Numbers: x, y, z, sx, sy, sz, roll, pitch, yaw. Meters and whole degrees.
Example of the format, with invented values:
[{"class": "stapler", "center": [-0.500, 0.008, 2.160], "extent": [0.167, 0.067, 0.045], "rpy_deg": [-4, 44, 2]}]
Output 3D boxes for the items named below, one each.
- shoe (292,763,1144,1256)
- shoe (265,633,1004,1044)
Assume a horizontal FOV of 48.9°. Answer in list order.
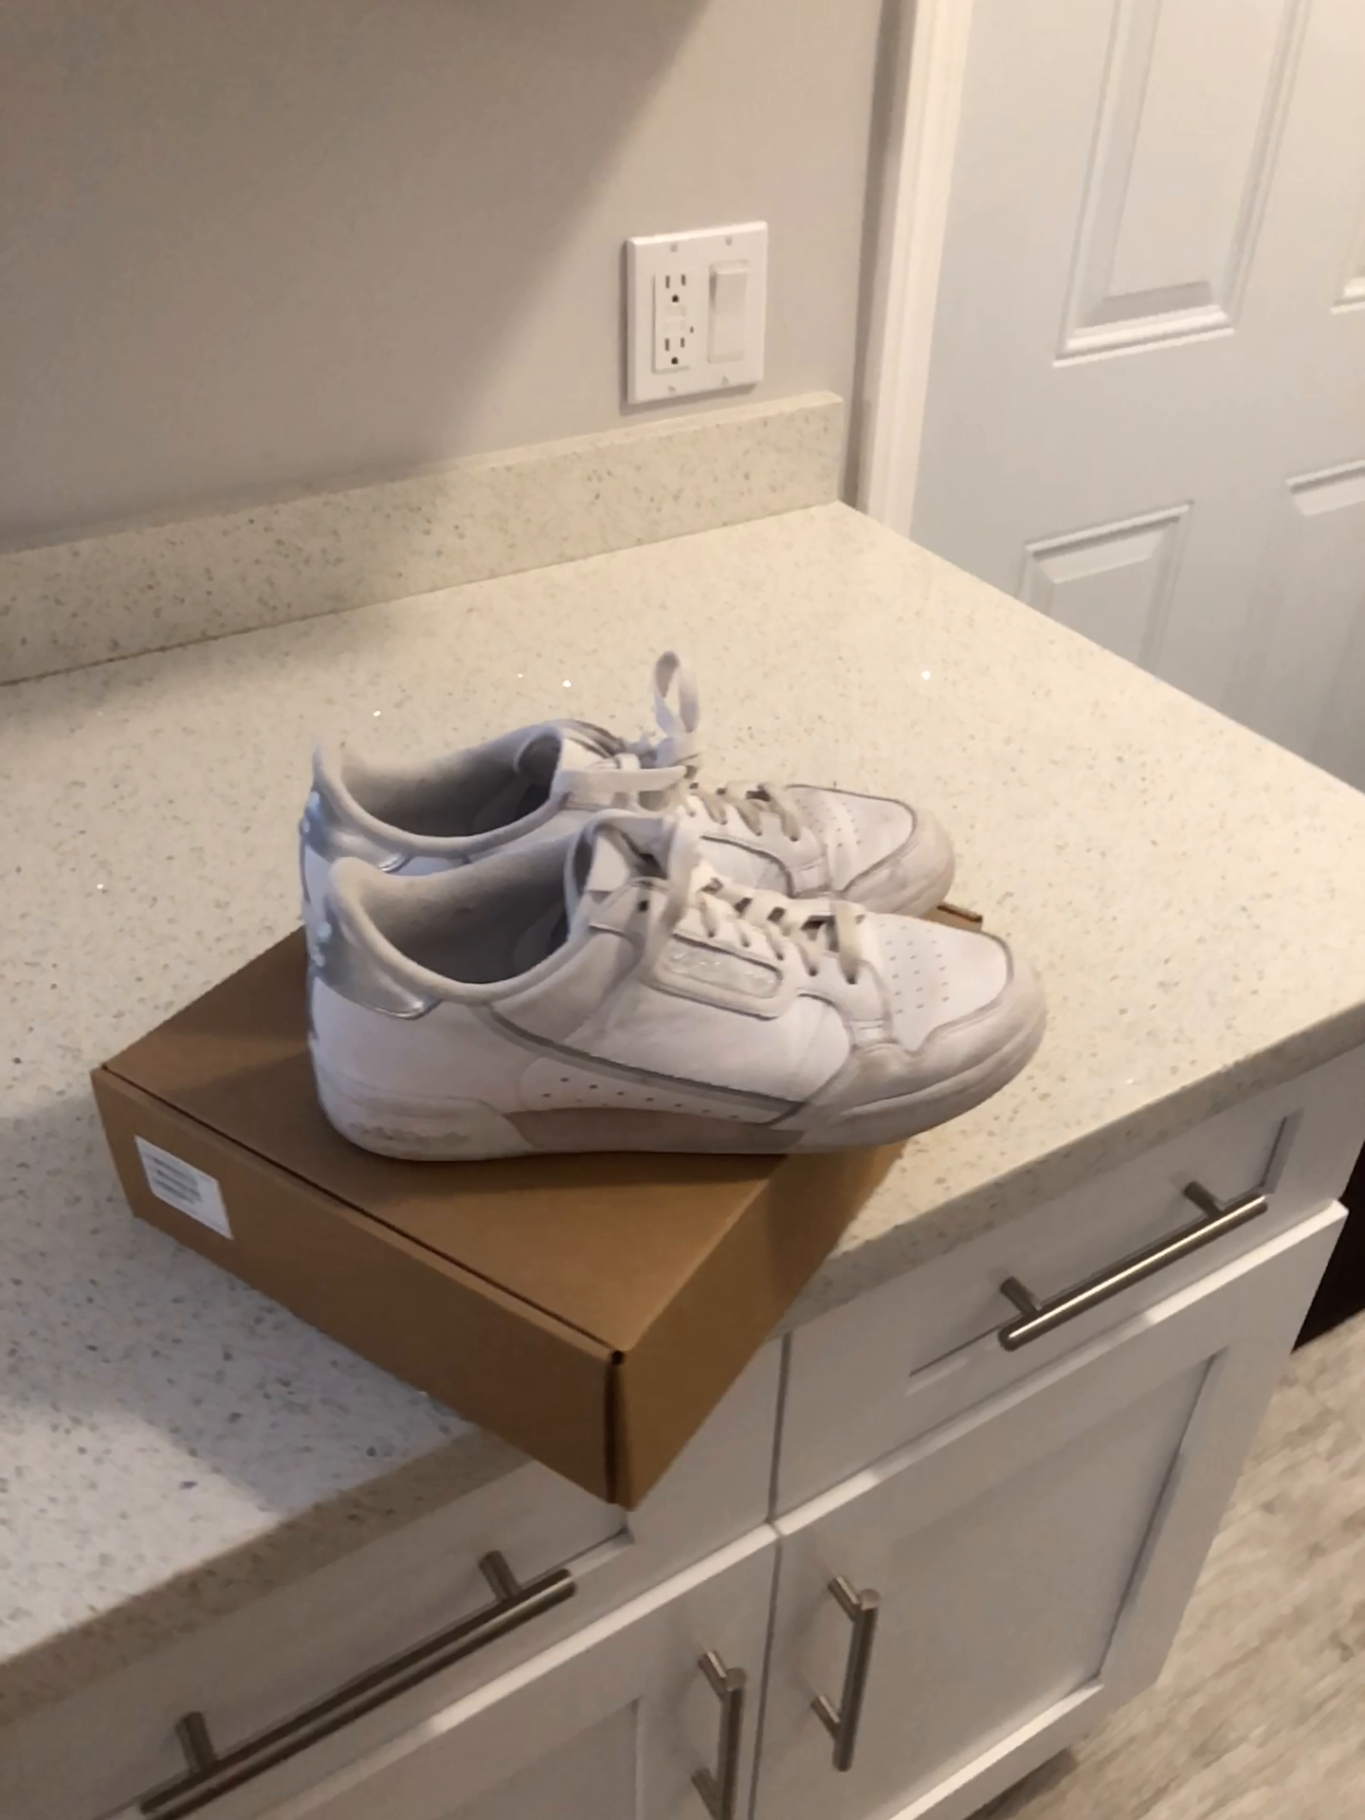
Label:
[{"class": "shoe", "center": [0.006, 0.030, 0.533], "extent": [0.268, 0.100, 0.108], "rpy_deg": [-6, 37, -10]}, {"class": "shoe", "center": [-0.023, -0.034, 0.609], "extent": [0.268, 0.100, 0.108], "rpy_deg": [-6, 37, -10]}]
